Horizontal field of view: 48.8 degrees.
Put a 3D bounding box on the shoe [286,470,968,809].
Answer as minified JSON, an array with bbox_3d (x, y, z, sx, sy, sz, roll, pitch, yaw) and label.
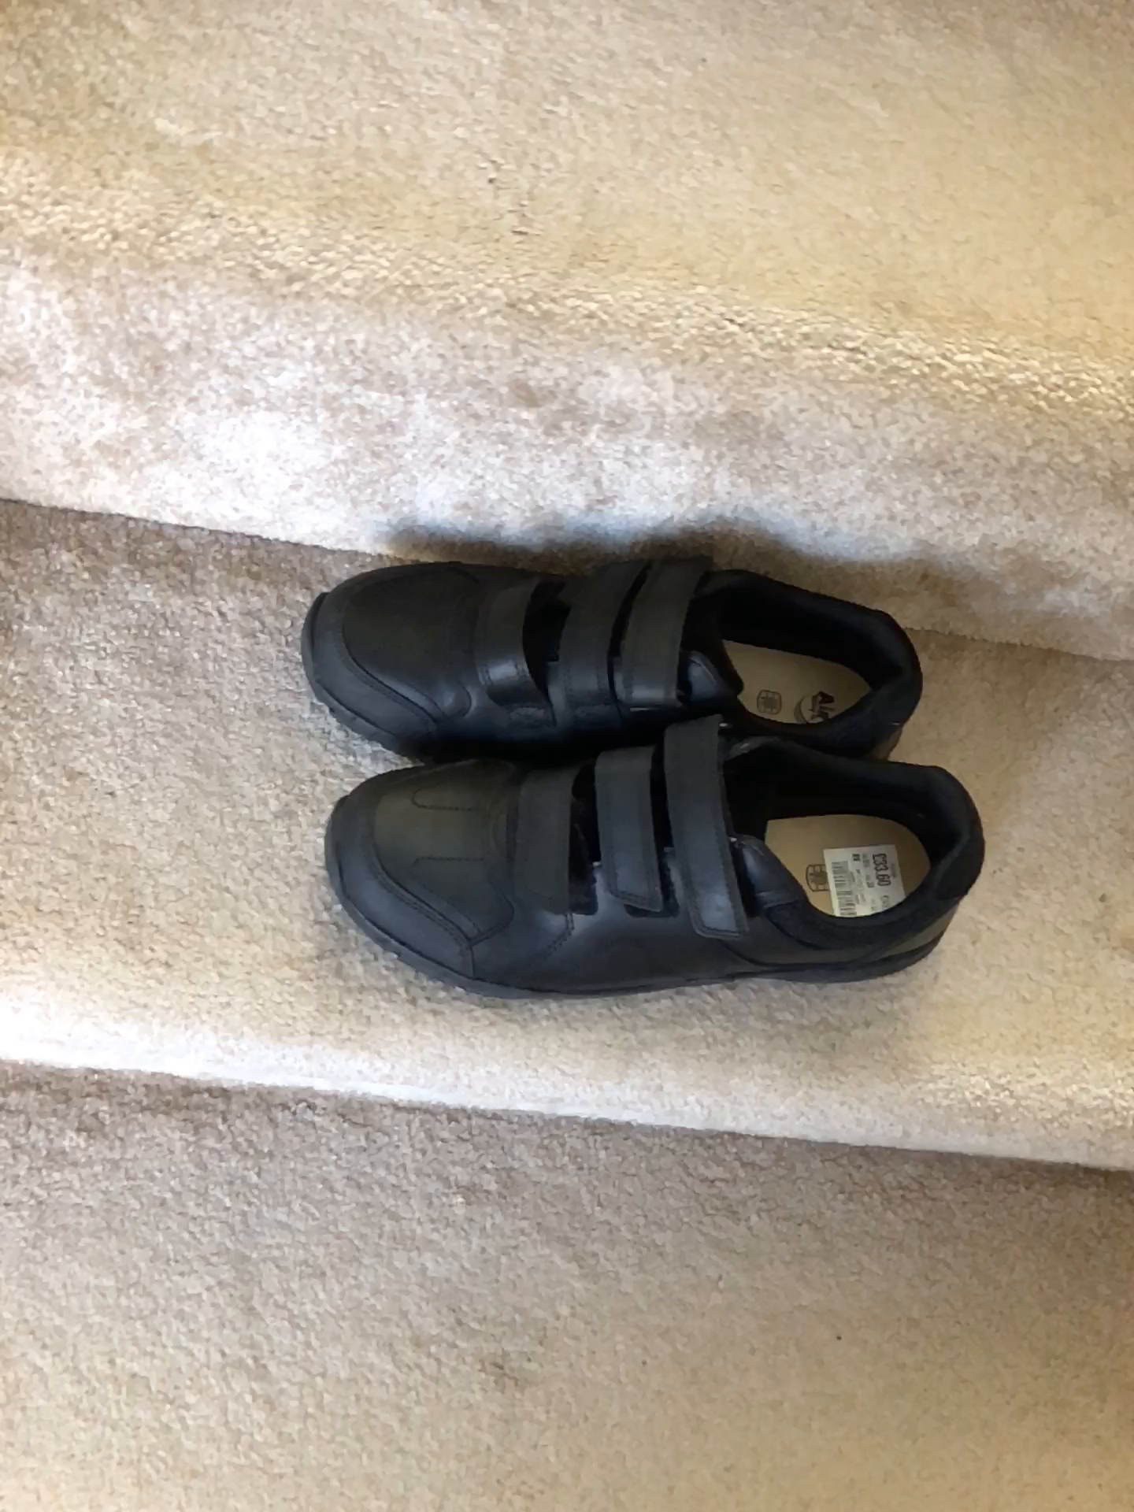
[{"bbox_3d":[0.021,-0.046,0.554,0.270,0.100,0.100,2,65,-7],"label":"shoe"}]

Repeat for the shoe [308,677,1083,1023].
[{"bbox_3d":[0.042,0.043,0.493,0.270,0.100,0.100,2,65,-7],"label":"shoe"}]
